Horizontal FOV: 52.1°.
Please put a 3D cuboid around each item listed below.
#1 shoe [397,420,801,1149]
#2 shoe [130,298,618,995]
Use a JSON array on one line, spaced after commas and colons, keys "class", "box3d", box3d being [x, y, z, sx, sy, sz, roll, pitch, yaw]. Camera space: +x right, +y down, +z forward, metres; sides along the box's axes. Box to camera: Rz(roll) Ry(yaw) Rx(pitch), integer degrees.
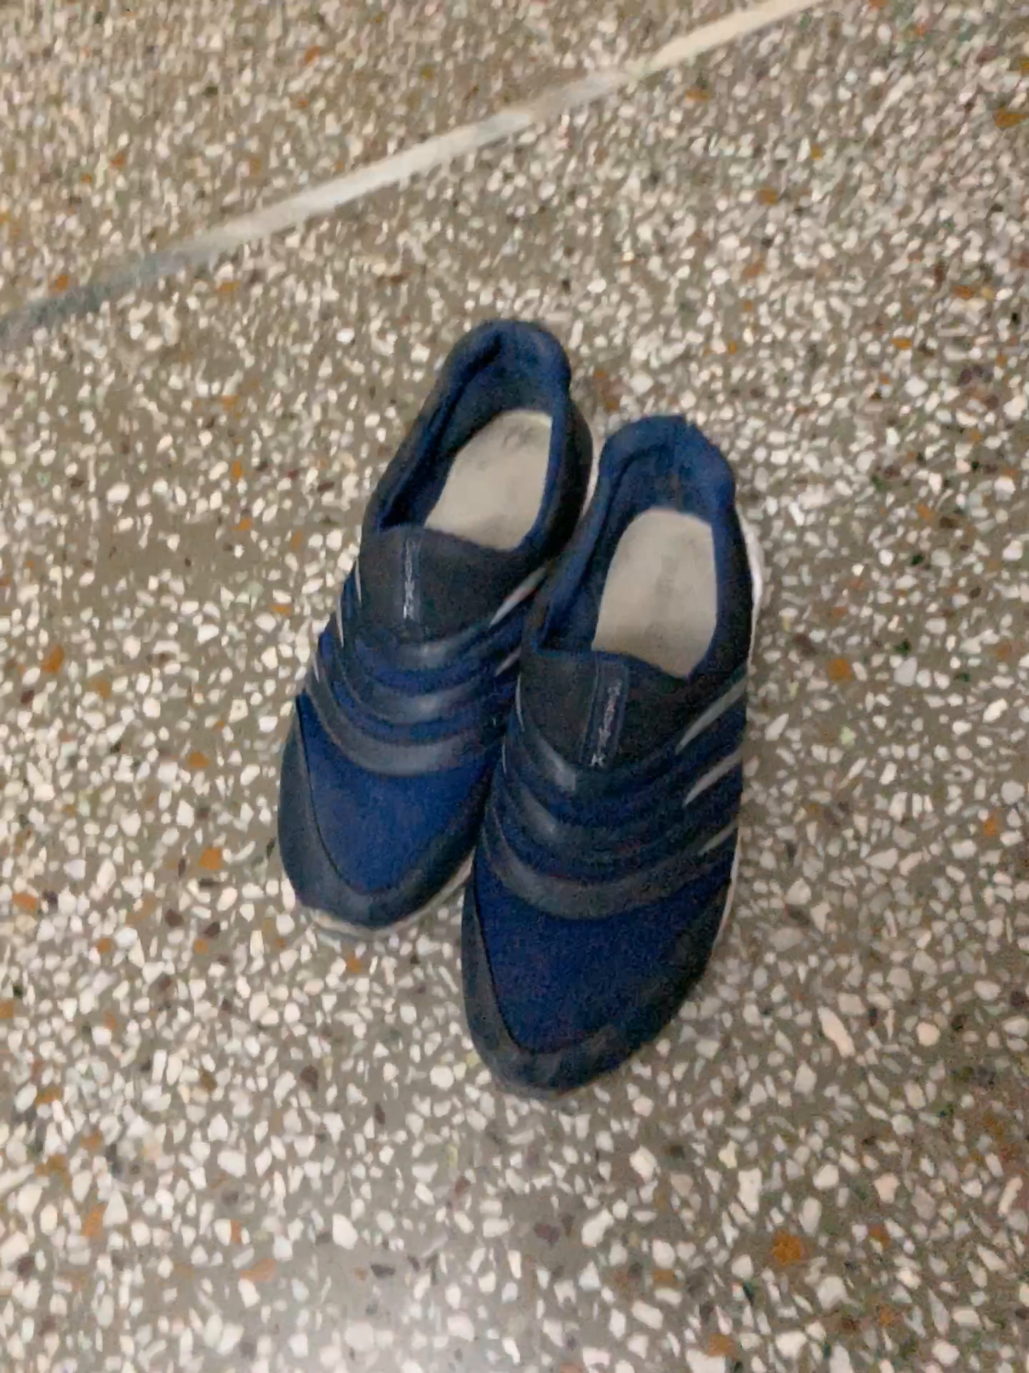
[{"class": "shoe", "box3d": [0.045, 0.036, 0.453, 0.104, 0.096, 0.279, 10, 70, 11]}, {"class": "shoe", "box3d": [-0.046, -0.024, 0.465, 0.104, 0.080, 0.283, 15, 71, 13]}]
